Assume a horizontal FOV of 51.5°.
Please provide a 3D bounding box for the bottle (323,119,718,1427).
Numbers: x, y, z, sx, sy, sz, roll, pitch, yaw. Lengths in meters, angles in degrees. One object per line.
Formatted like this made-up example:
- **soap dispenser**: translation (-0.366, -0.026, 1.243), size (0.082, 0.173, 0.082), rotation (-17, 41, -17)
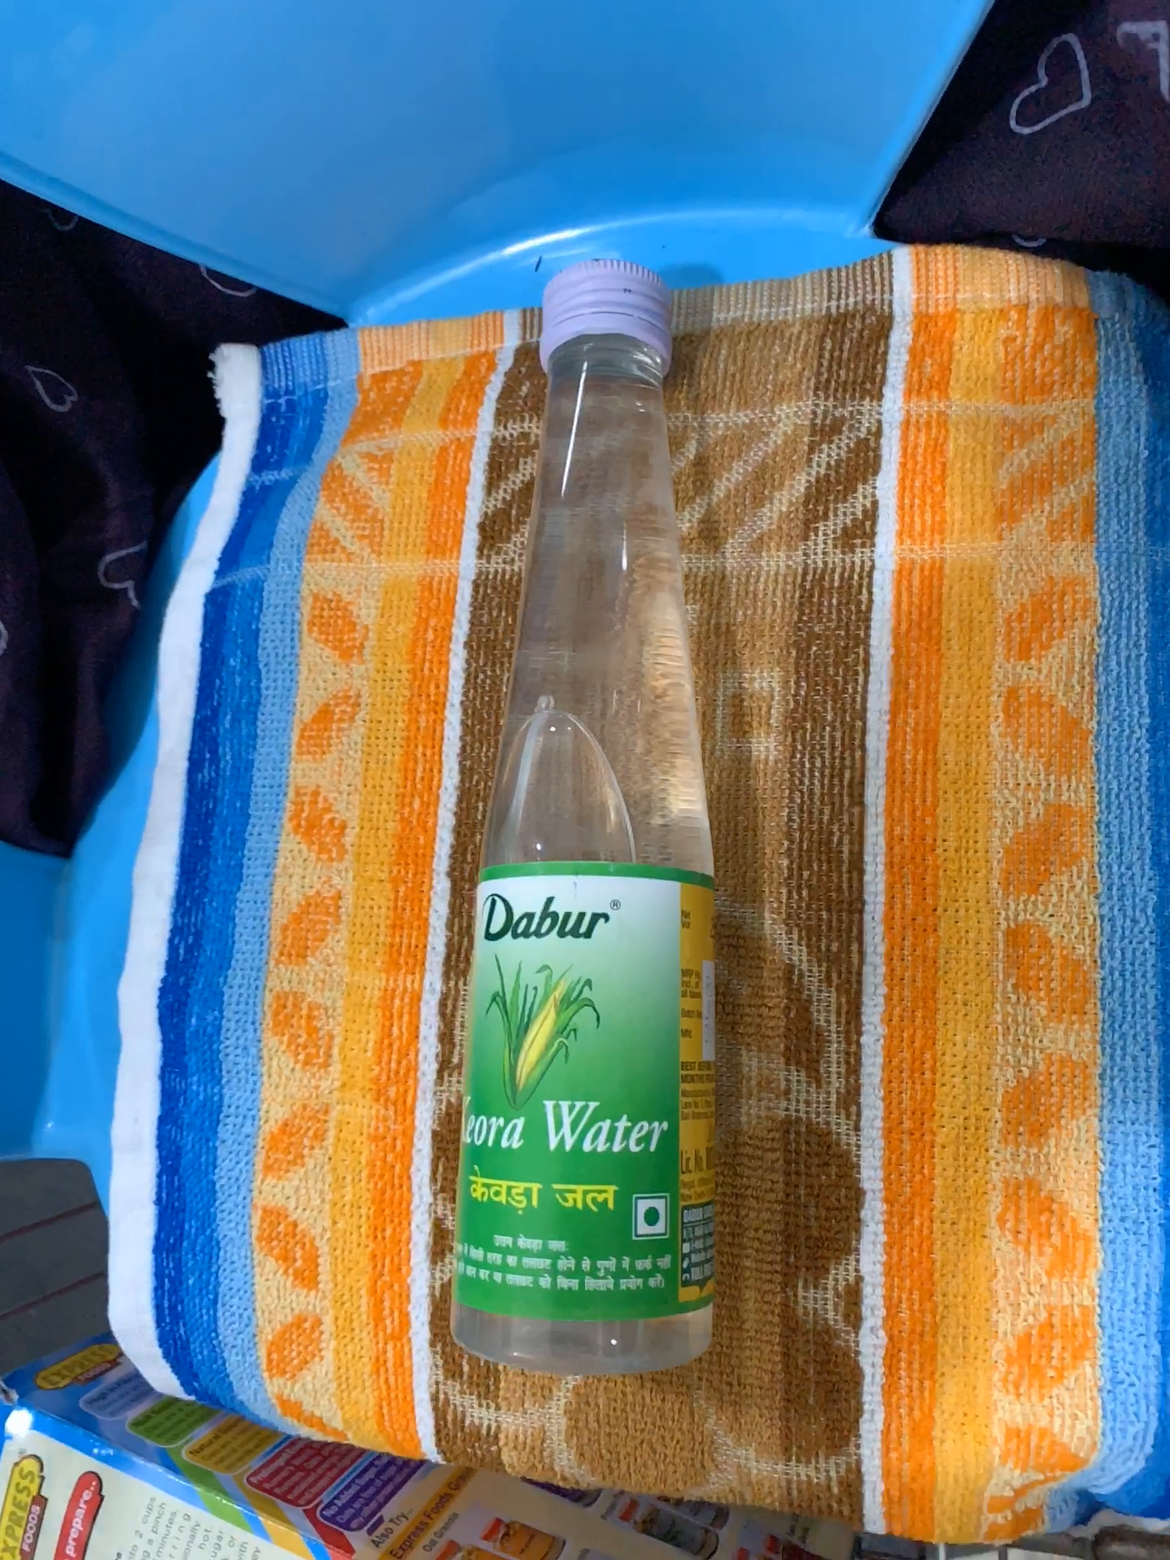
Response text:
- **bottle**: translation (-0.010, -0.004, 0.215), size (0.050, 0.050, 0.200), rotation (-4, 82, 20)
